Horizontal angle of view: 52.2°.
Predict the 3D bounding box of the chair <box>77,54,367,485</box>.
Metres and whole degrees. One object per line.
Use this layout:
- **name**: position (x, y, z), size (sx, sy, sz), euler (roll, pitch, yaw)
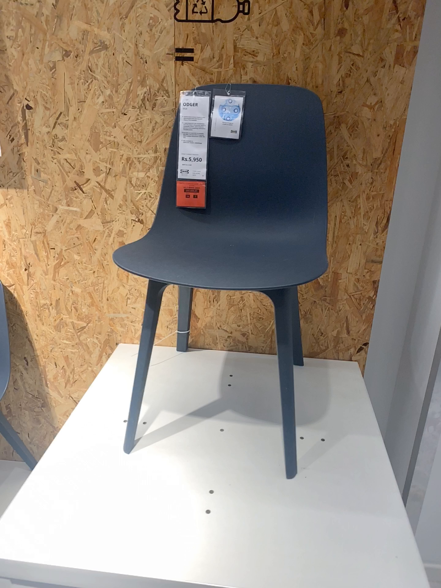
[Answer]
- **chair**: position (0.028, -0.085, 1.025), size (0.430, 0.767, 0.502), euler (5, 22, 9)
